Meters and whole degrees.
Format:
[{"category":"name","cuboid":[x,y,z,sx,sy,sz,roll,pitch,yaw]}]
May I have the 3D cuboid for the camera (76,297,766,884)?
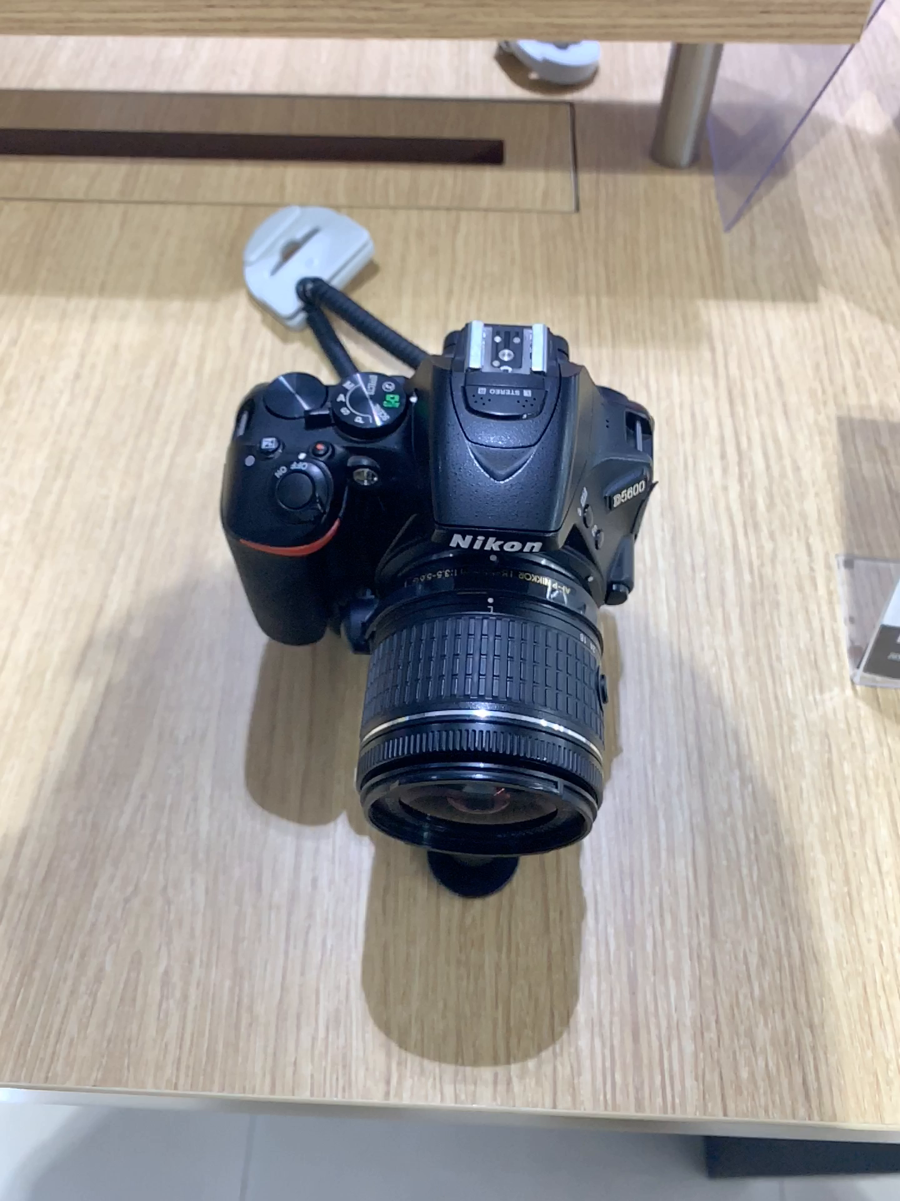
[{"category":"camera","cuboid":[-0.003,-0.002,0.231,0.124,0.080,0.114,3,57,1]}]
